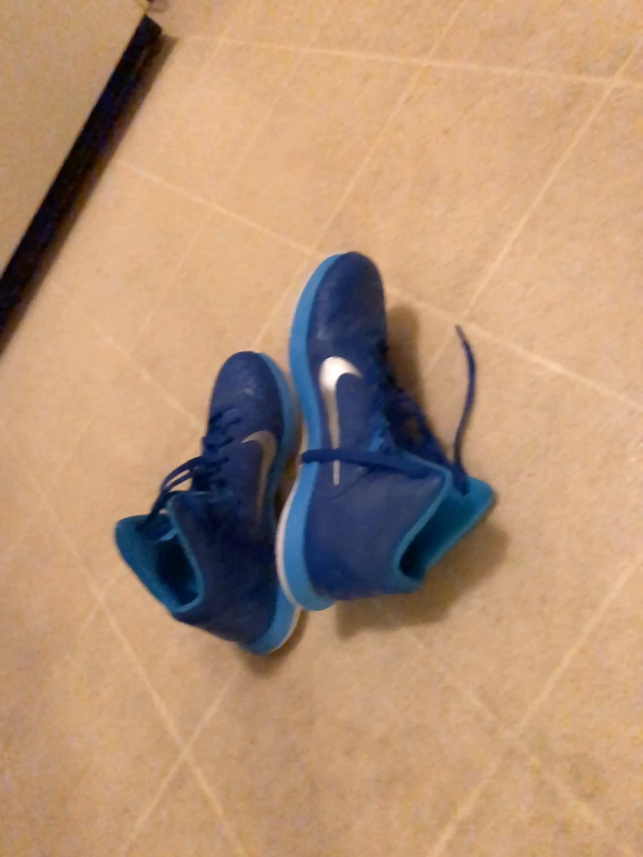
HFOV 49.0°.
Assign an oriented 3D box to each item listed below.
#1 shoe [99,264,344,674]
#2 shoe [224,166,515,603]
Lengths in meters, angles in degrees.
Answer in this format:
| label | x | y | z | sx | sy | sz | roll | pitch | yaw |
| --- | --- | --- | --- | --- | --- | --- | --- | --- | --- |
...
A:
| label | x | y | z | sx | sy | sz | roll | pitch | yaw |
| --- | --- | --- | --- | --- | --- | --- | --- | --- | --- |
| shoe | -0.088 | 0.038 | 0.620 | 0.120 | 0.144 | 0.311 | -26 | 55 | 32 |
| shoe | 0.043 | -0.021 | 0.531 | 0.160 | 0.119 | 0.282 | -10 | 65 | 34 |
